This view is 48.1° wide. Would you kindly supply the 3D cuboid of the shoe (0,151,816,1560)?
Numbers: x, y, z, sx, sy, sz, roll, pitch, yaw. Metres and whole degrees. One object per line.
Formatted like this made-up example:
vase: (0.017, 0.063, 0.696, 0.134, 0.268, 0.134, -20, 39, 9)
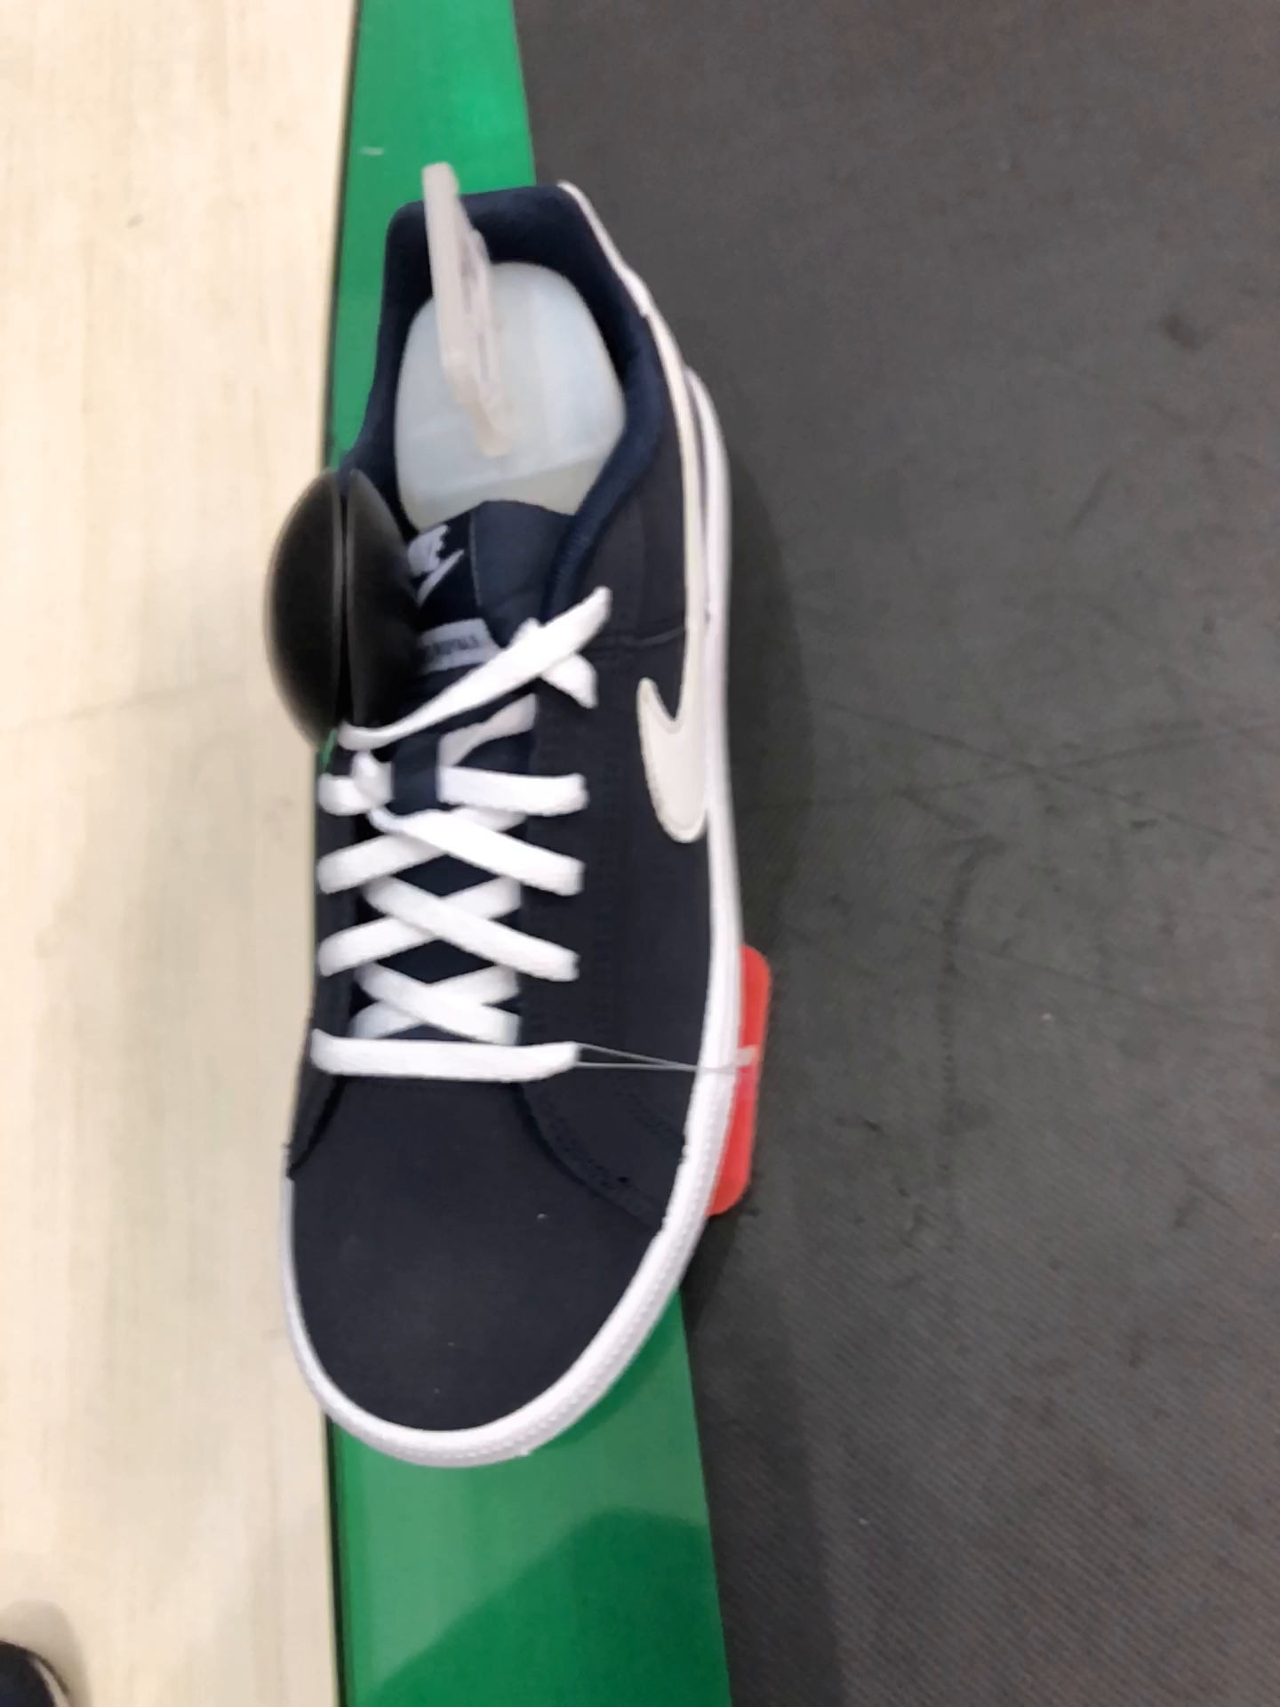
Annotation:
shoe: (-0.031, -0.005, 0.296, 0.110, 0.090, 0.250, 1, 72, 14)
